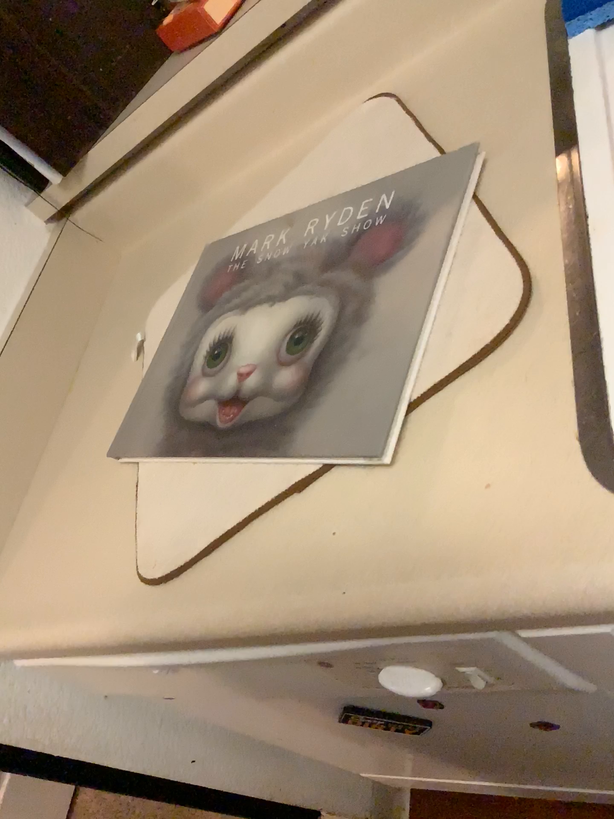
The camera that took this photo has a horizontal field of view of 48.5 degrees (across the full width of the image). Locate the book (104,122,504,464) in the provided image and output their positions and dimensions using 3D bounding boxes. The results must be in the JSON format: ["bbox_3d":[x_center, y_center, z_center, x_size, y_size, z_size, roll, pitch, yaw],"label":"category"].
[{"bbox_3d":[-0.026,-0.086,0.627,0.380,0.020,0.290,-4,58,46],"label":"book"}]
